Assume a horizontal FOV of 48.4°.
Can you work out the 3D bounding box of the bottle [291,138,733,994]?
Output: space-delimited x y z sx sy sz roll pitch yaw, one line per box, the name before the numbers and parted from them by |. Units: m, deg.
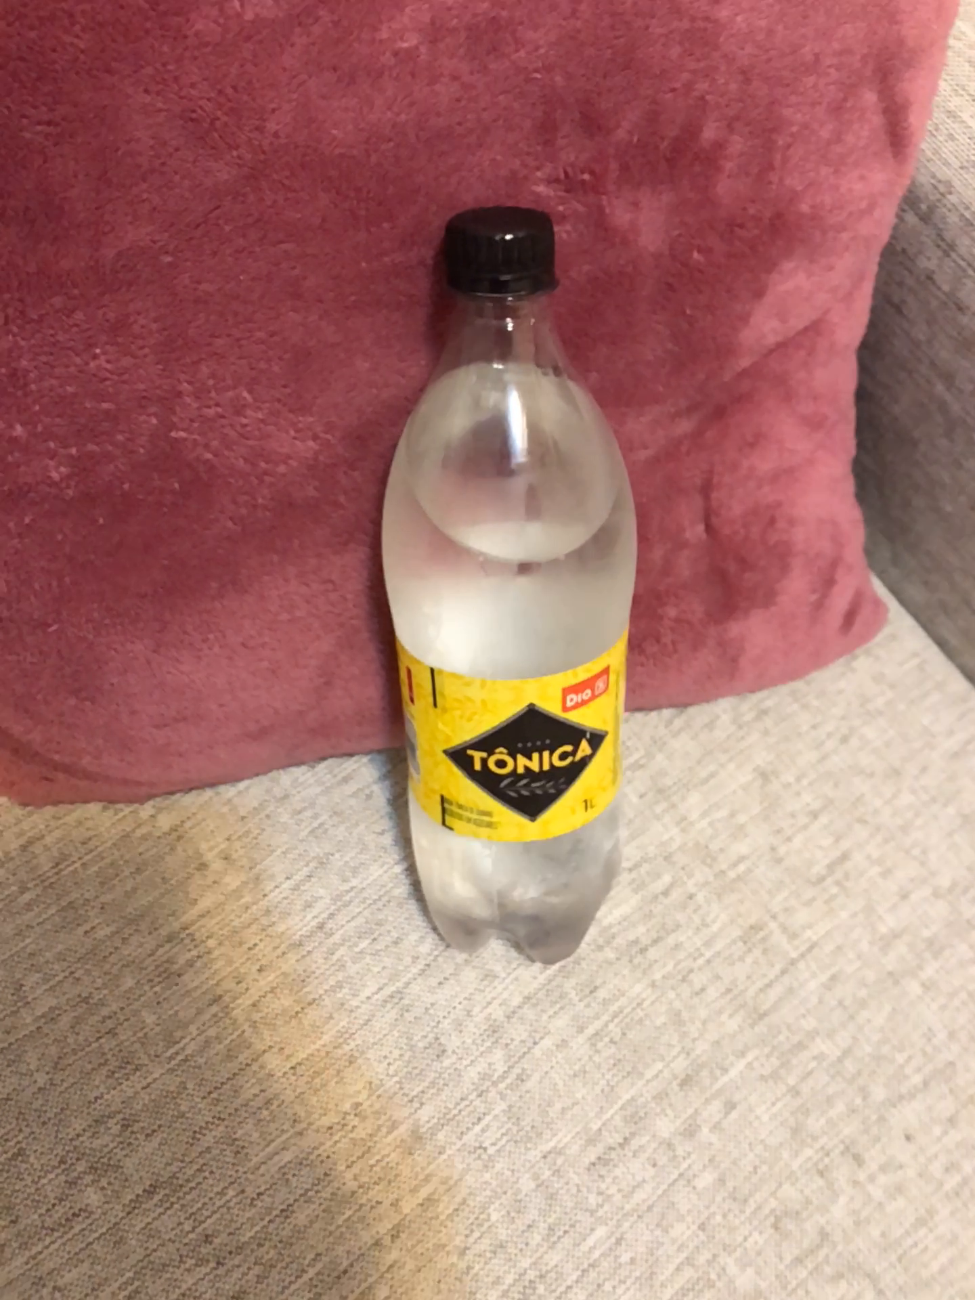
bottle | 0.005 -0.016 0.373 0.100 0.269 0.100 -2 36 1
